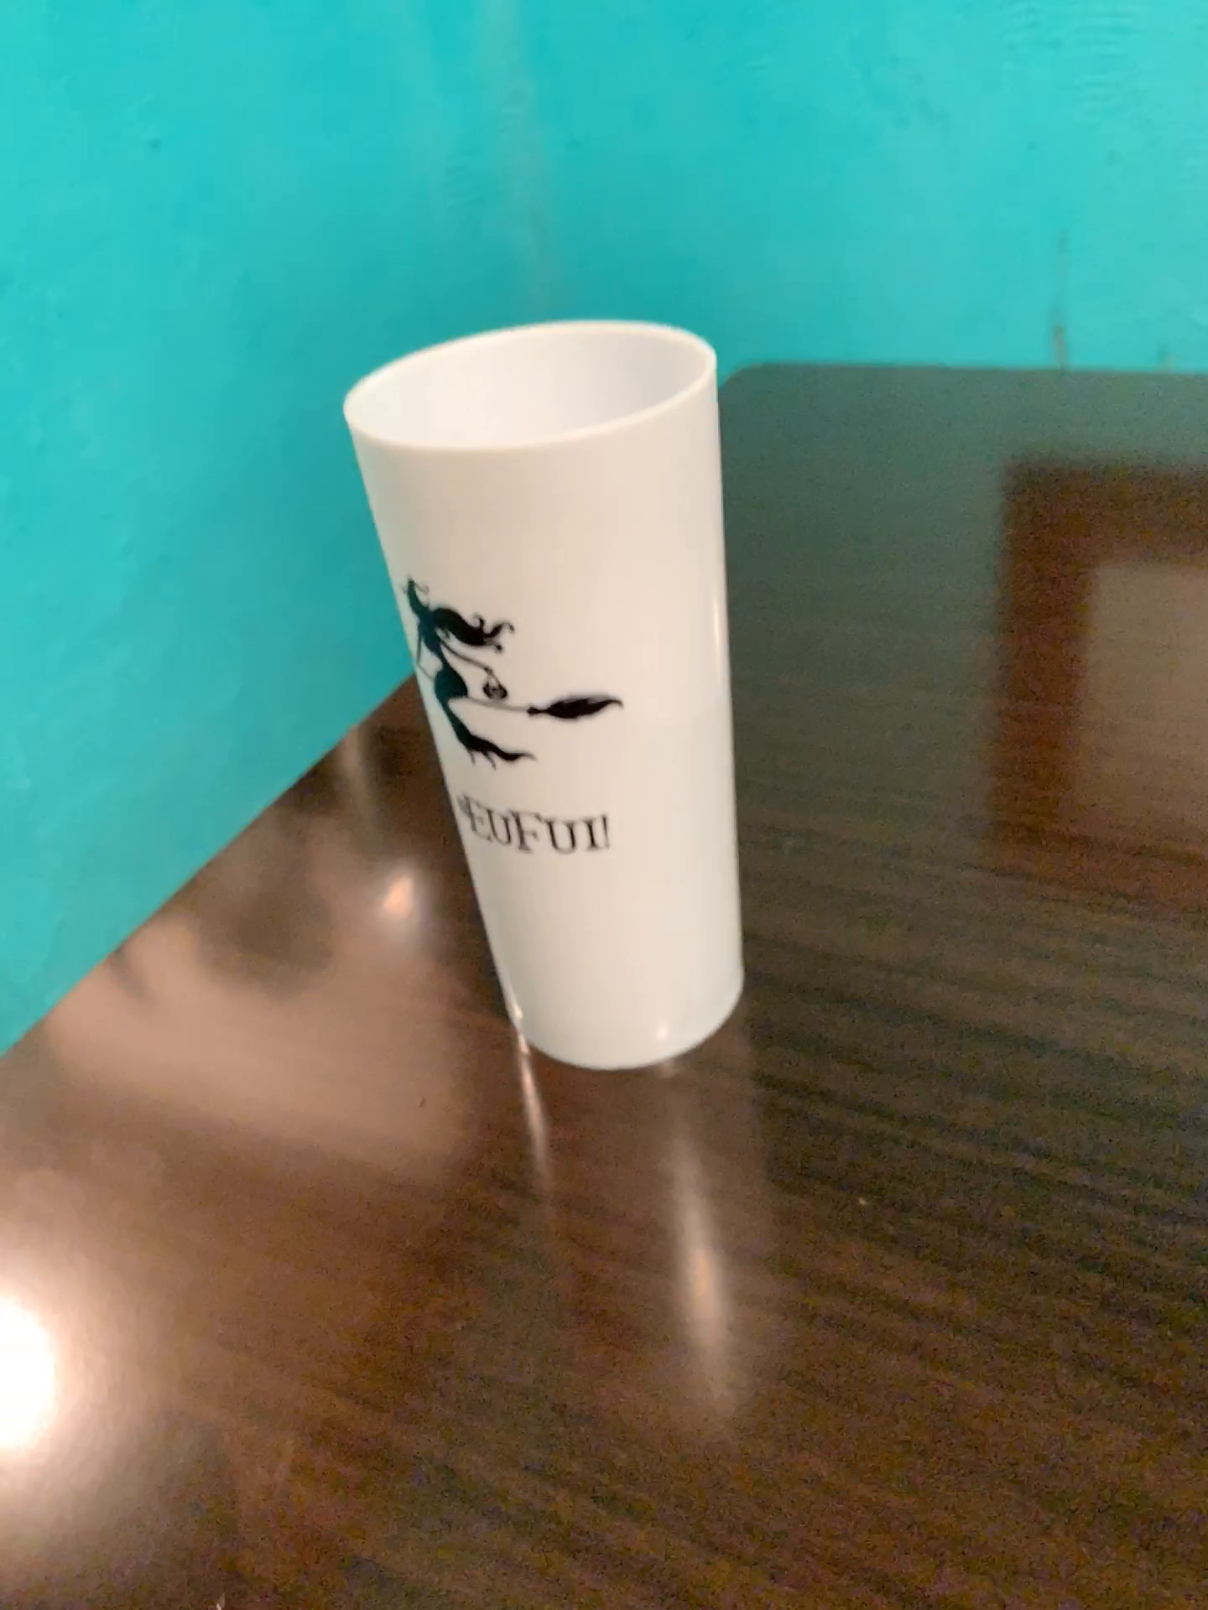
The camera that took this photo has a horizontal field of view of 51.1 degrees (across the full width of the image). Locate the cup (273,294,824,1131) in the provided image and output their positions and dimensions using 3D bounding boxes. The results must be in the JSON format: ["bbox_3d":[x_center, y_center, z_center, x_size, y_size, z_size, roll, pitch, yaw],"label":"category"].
[{"bbox_3d":[0.000,-0.018,0.262,0.070,0.149,0.070,-5,35,4],"label":"cup"}]
